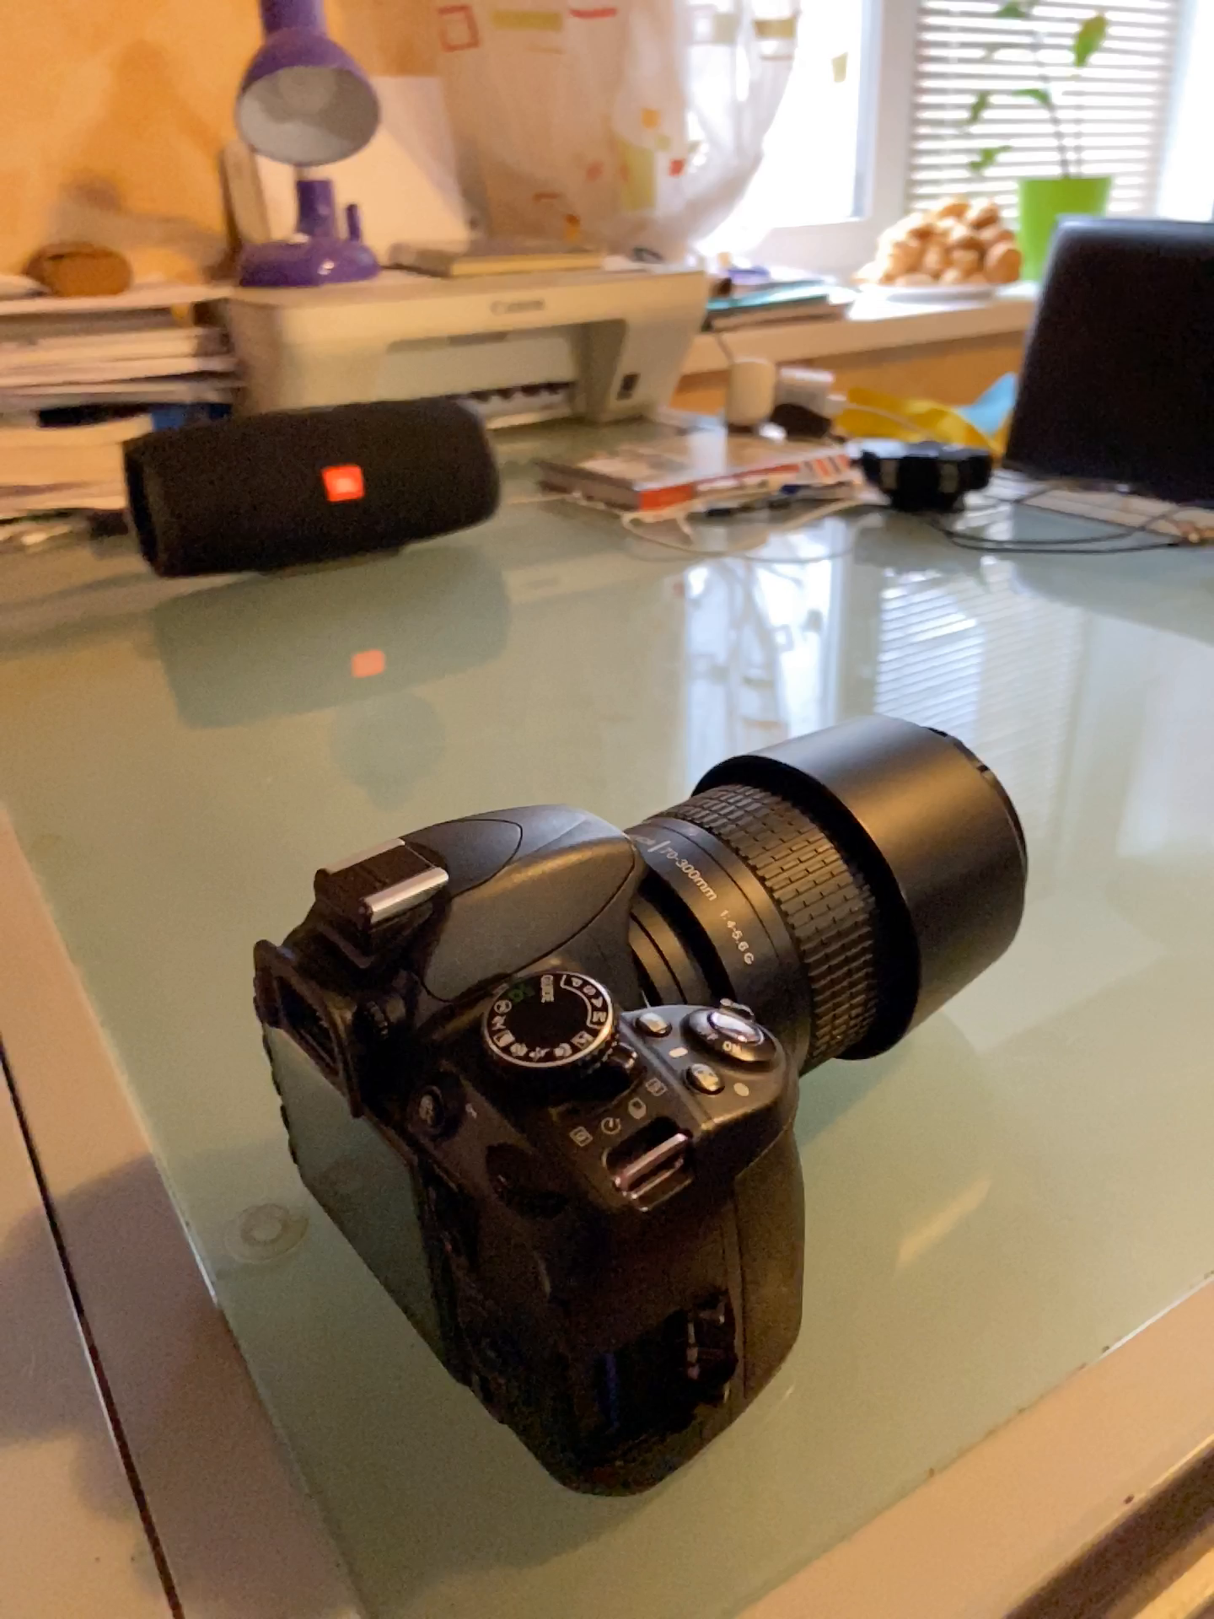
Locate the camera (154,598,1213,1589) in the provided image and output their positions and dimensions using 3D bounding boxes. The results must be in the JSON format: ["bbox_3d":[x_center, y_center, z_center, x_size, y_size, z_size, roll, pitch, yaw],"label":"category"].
[{"bbox_3d":[0.029,0.034,0.296,0.209,0.099,0.135,-20,32,-33],"label":"camera"}]
